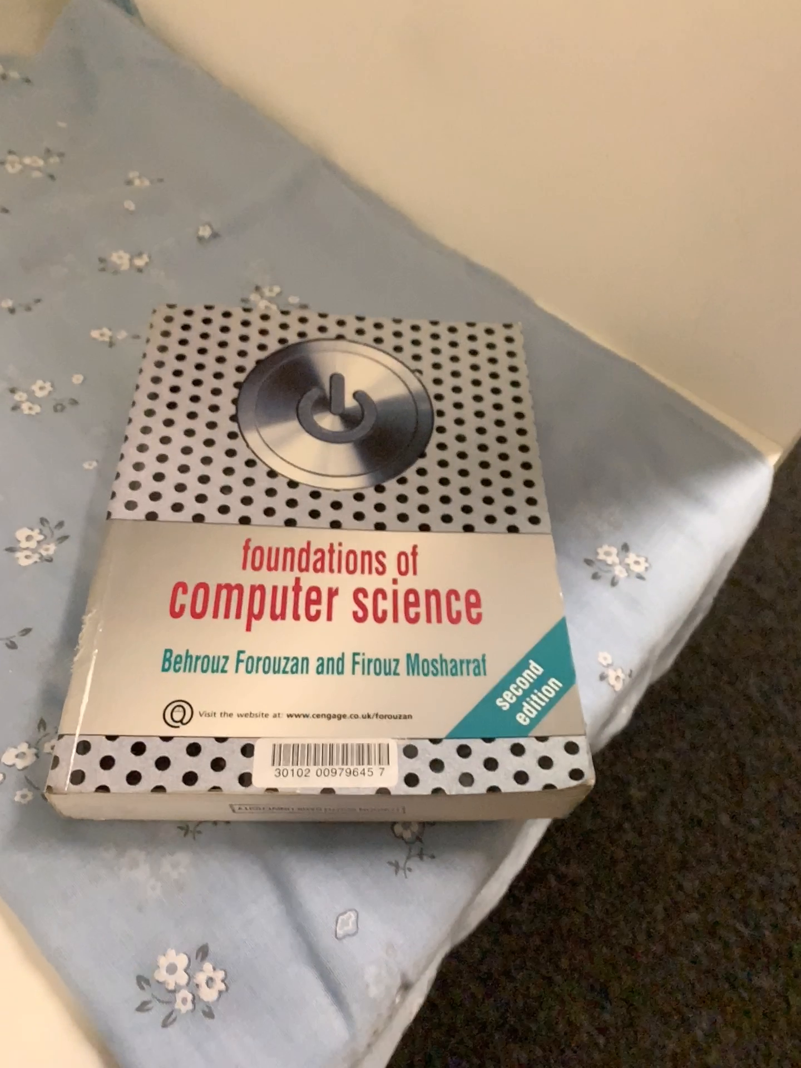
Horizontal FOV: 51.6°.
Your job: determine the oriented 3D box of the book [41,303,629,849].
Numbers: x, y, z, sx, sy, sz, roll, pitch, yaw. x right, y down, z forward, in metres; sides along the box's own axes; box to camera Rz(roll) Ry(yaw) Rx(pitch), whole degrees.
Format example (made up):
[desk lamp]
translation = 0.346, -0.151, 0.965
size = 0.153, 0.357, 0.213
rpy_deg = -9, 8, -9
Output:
[book]
translation = -0.024, 0.002, 0.358
size = 0.191, 0.040, 0.248
rpy_deg = 1, 54, -5
